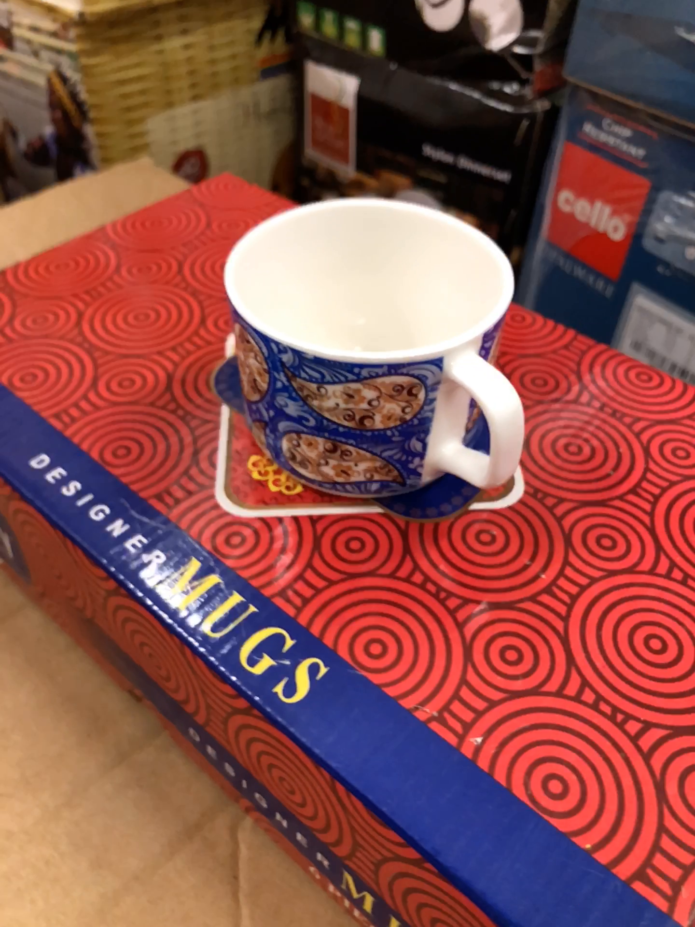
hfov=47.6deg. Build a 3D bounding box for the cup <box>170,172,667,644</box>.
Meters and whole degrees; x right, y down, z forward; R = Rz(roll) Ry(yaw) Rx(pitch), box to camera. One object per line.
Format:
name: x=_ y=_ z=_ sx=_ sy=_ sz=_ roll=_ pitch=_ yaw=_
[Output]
cup: x=0.013 y=-0.021 z=0.210 sx=0.070 sy=0.060 sz=0.100 roll=-29 pitch=54 yaw=-29
